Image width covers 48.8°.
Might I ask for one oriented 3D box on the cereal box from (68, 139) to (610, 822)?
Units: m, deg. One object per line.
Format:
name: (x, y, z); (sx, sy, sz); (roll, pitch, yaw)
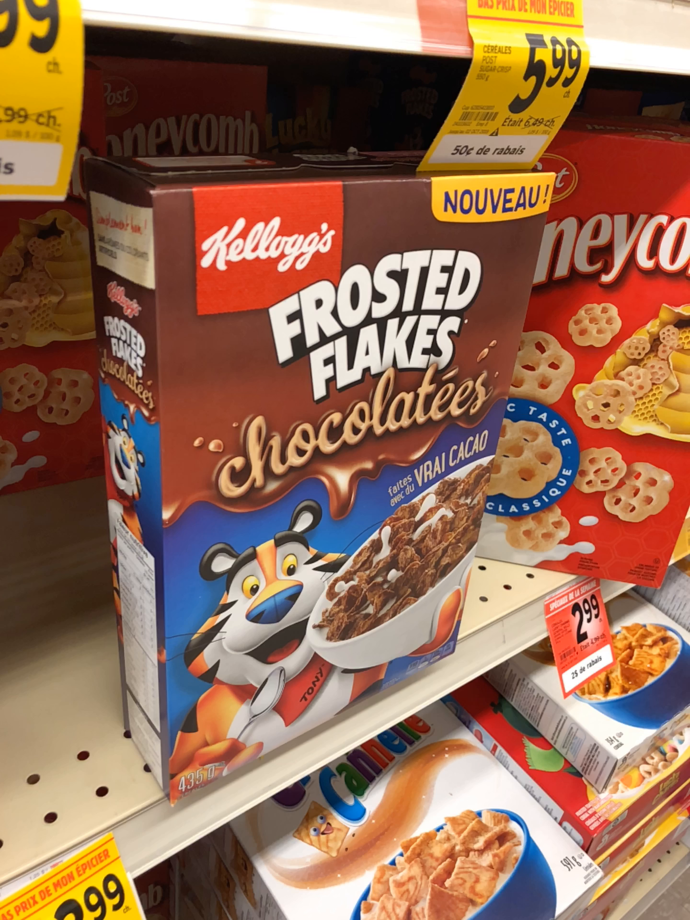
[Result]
cereal box: (-0.002, 0.003, 0.361); (0.211, 0.278, 0.070); (-16, 35, -34)
